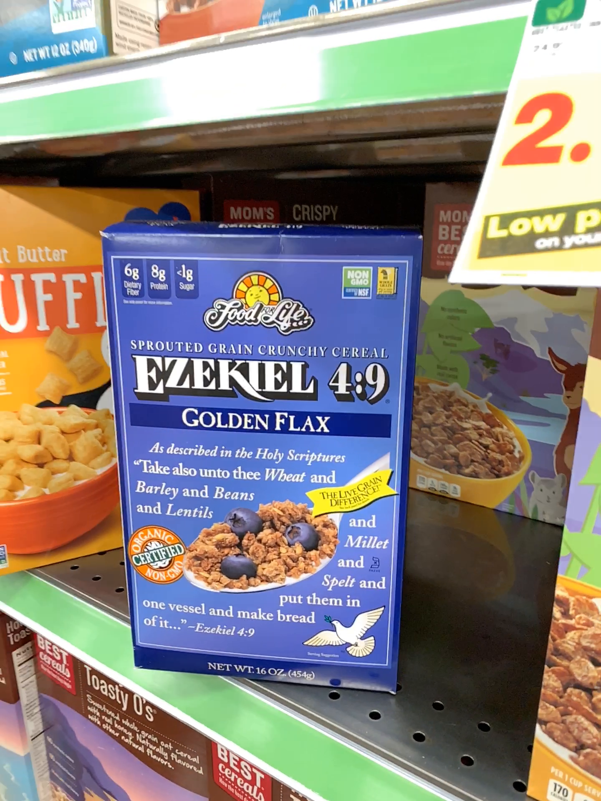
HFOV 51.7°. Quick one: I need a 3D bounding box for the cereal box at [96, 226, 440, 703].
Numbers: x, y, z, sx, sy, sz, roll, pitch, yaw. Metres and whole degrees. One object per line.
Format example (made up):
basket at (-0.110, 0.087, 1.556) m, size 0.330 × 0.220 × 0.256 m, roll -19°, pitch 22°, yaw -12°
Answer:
cereal box at (-0.014, 0.033, 0.344) m, size 0.160 × 0.249 × 0.060 m, roll 2°, pitch 15°, yaw 7°
